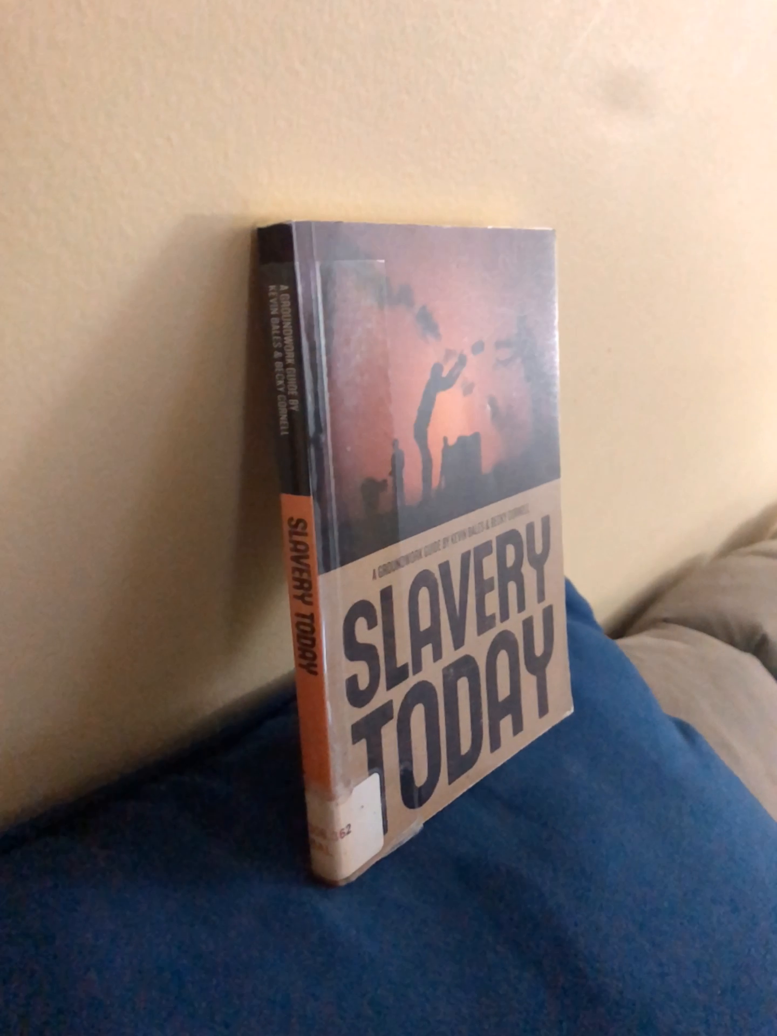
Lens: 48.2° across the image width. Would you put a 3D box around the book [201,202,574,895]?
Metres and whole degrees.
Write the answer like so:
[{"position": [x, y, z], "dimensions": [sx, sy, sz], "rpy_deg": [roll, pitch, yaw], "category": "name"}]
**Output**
[{"position": [0.012, 0.000, 0.275], "dimensions": [0.028, 0.182, 0.128], "rpy_deg": [7, 17, 40], "category": "book"}]
